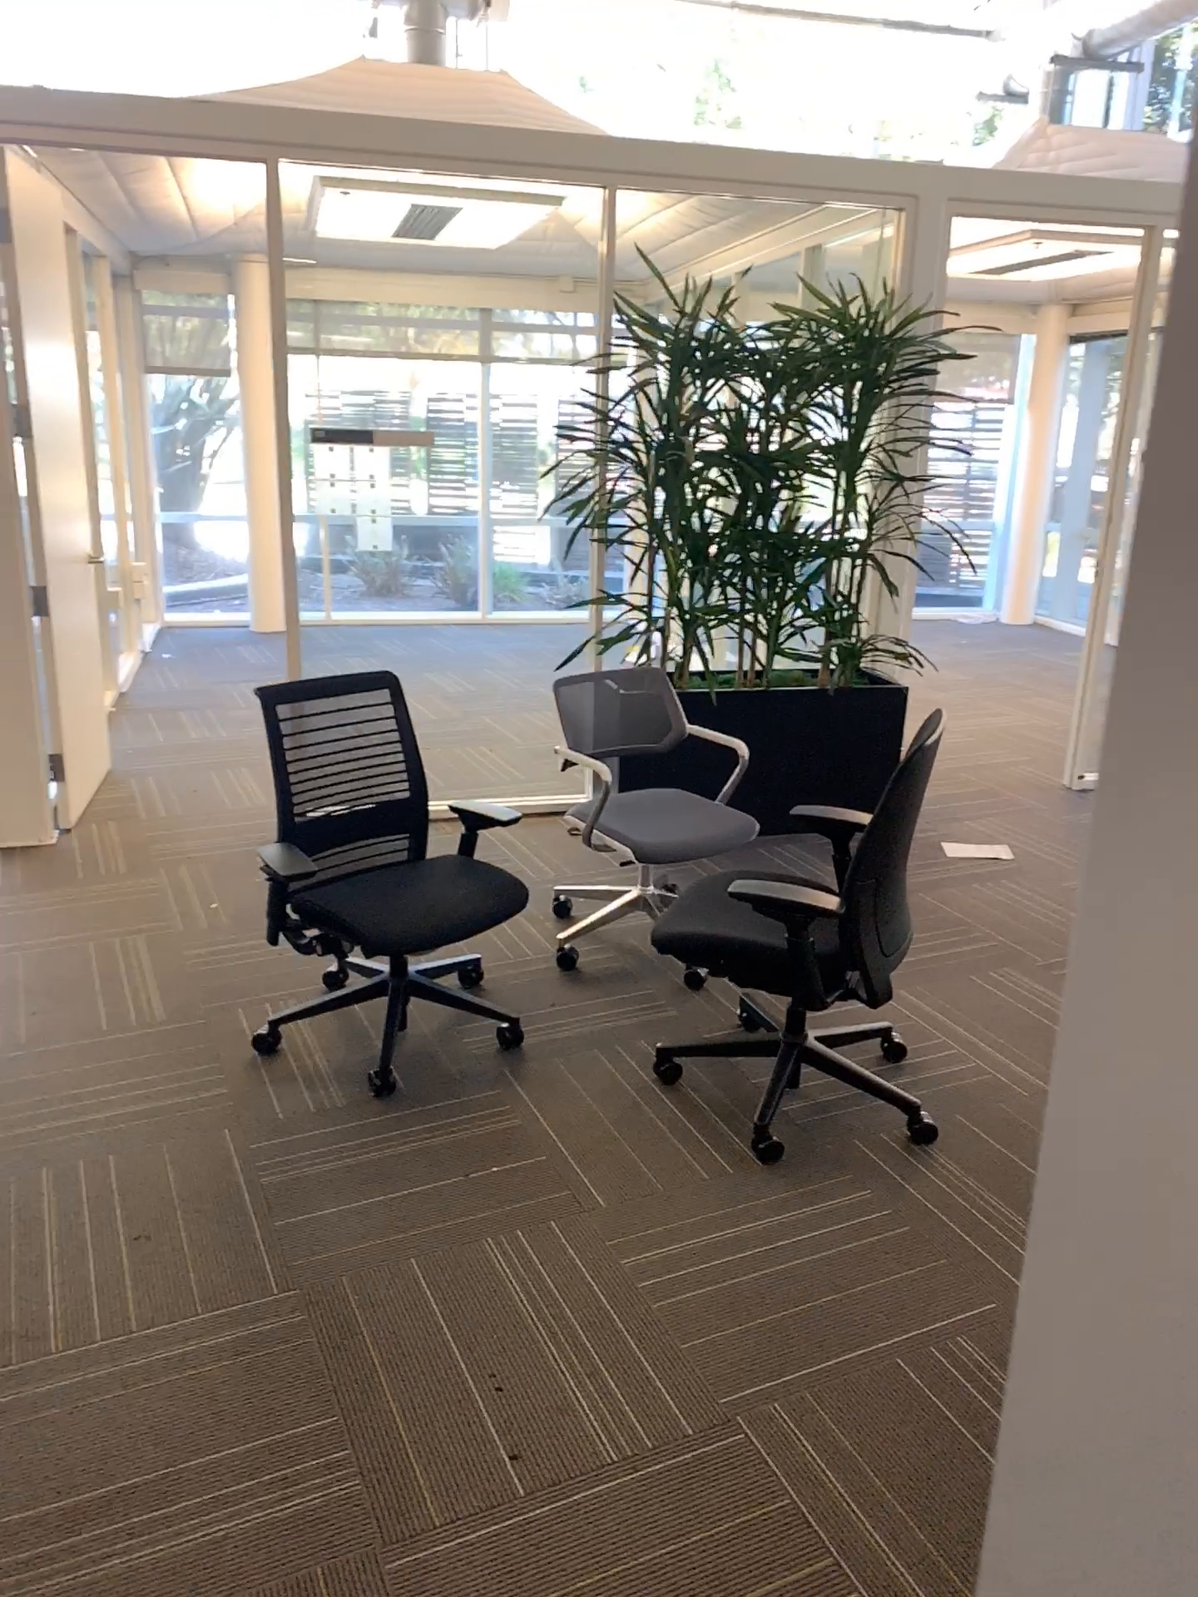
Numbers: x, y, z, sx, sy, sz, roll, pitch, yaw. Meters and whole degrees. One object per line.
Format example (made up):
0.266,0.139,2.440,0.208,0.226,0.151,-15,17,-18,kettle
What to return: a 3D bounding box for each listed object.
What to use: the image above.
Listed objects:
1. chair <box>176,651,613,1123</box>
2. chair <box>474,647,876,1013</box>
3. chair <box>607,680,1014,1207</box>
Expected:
-0.521,0.154,3.164,0.811,0.886,0.723,-14,23,-42,chair
0.193,0.026,3.814,0.840,0.797,0.924,-9,20,-31,chair
0.532,0.268,2.933,0.761,0.886,0.853,8,18,18,chair
